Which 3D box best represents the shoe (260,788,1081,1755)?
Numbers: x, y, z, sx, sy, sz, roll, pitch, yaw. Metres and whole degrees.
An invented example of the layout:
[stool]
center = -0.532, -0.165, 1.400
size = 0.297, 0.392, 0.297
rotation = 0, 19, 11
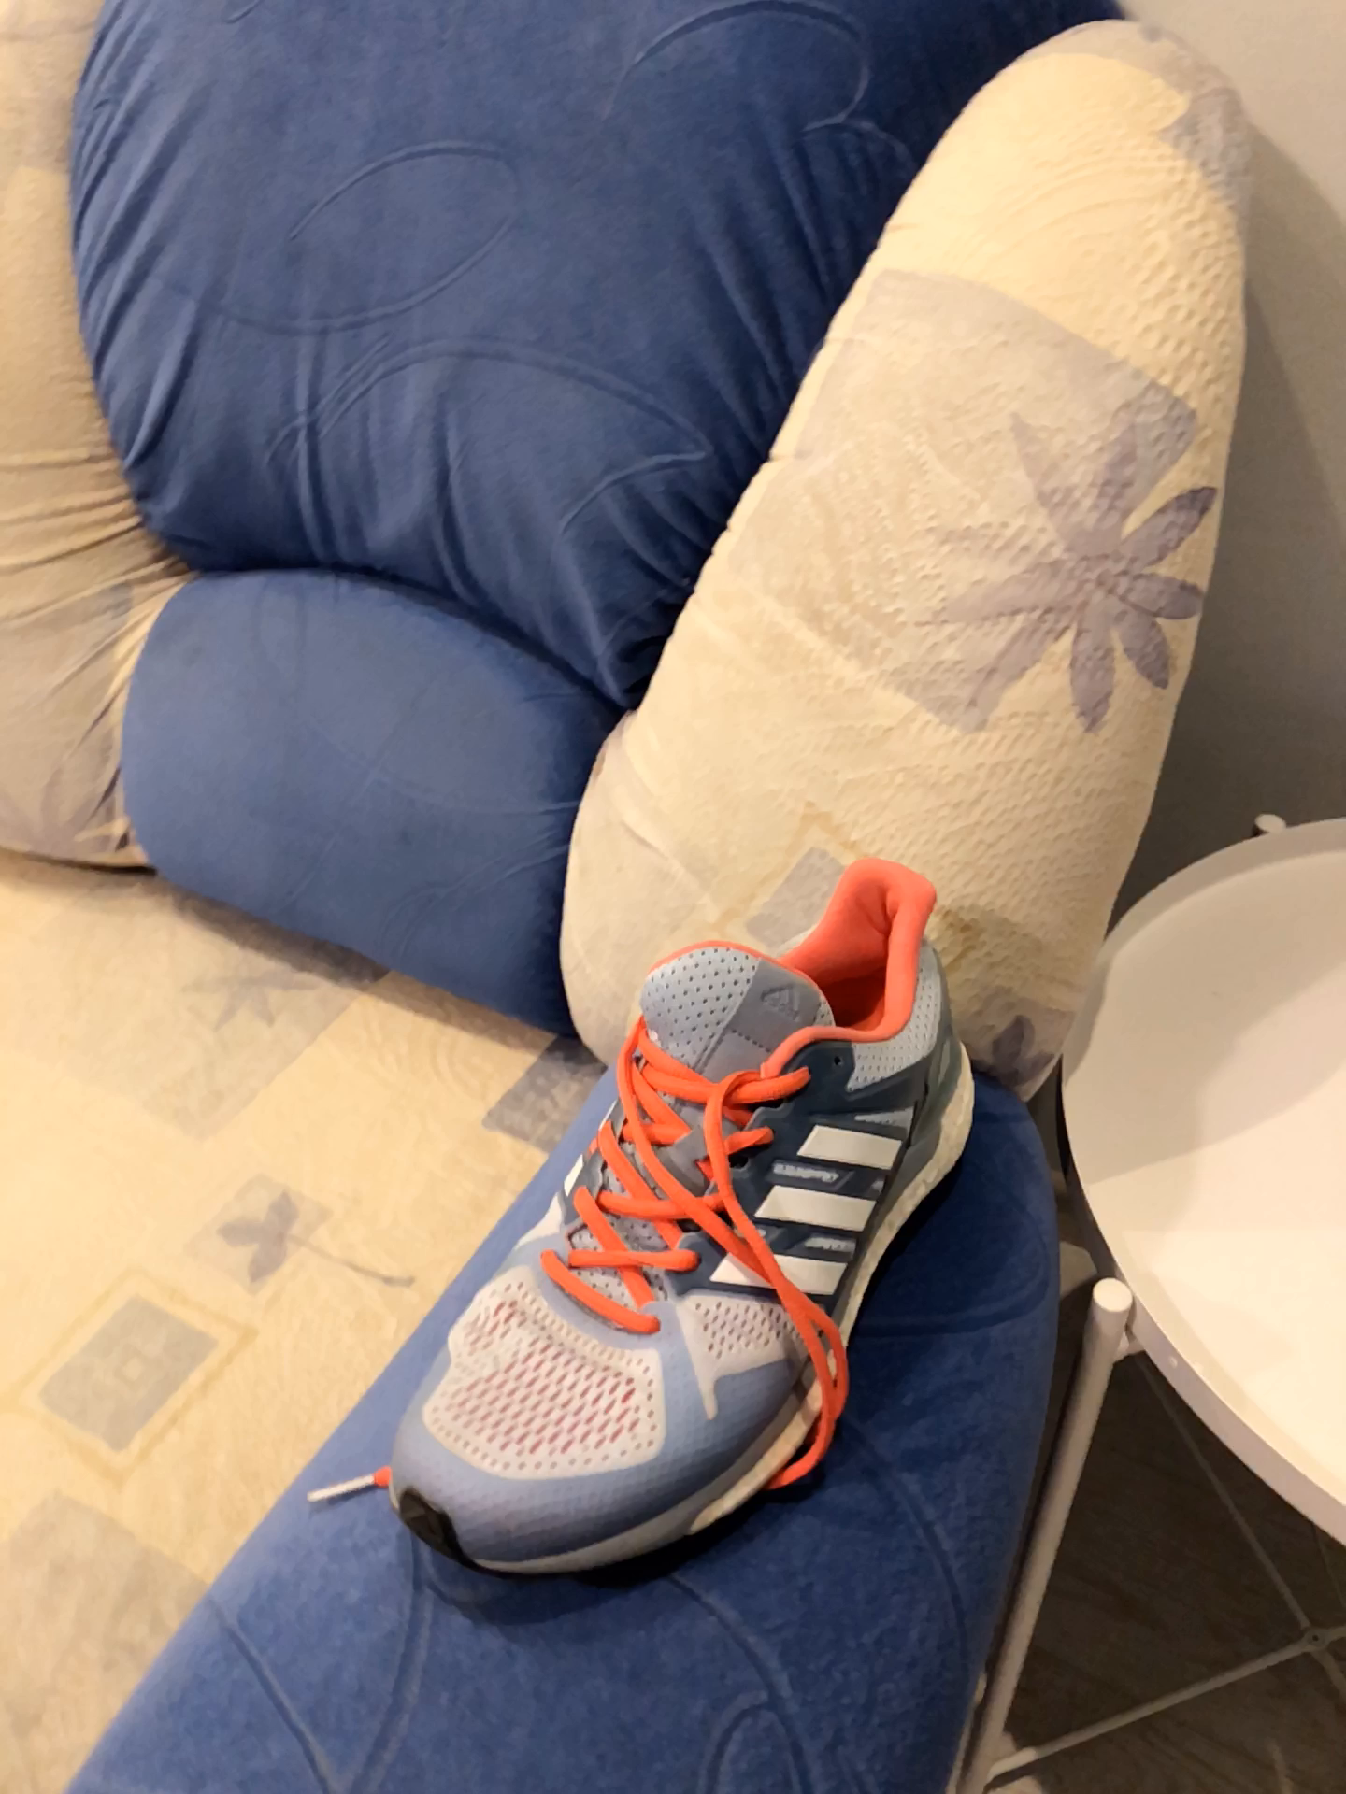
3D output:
[shoe]
center = 0.018, 0.096, 0.470
size = 0.107, 0.109, 0.272
rotation = 23, 47, 26
